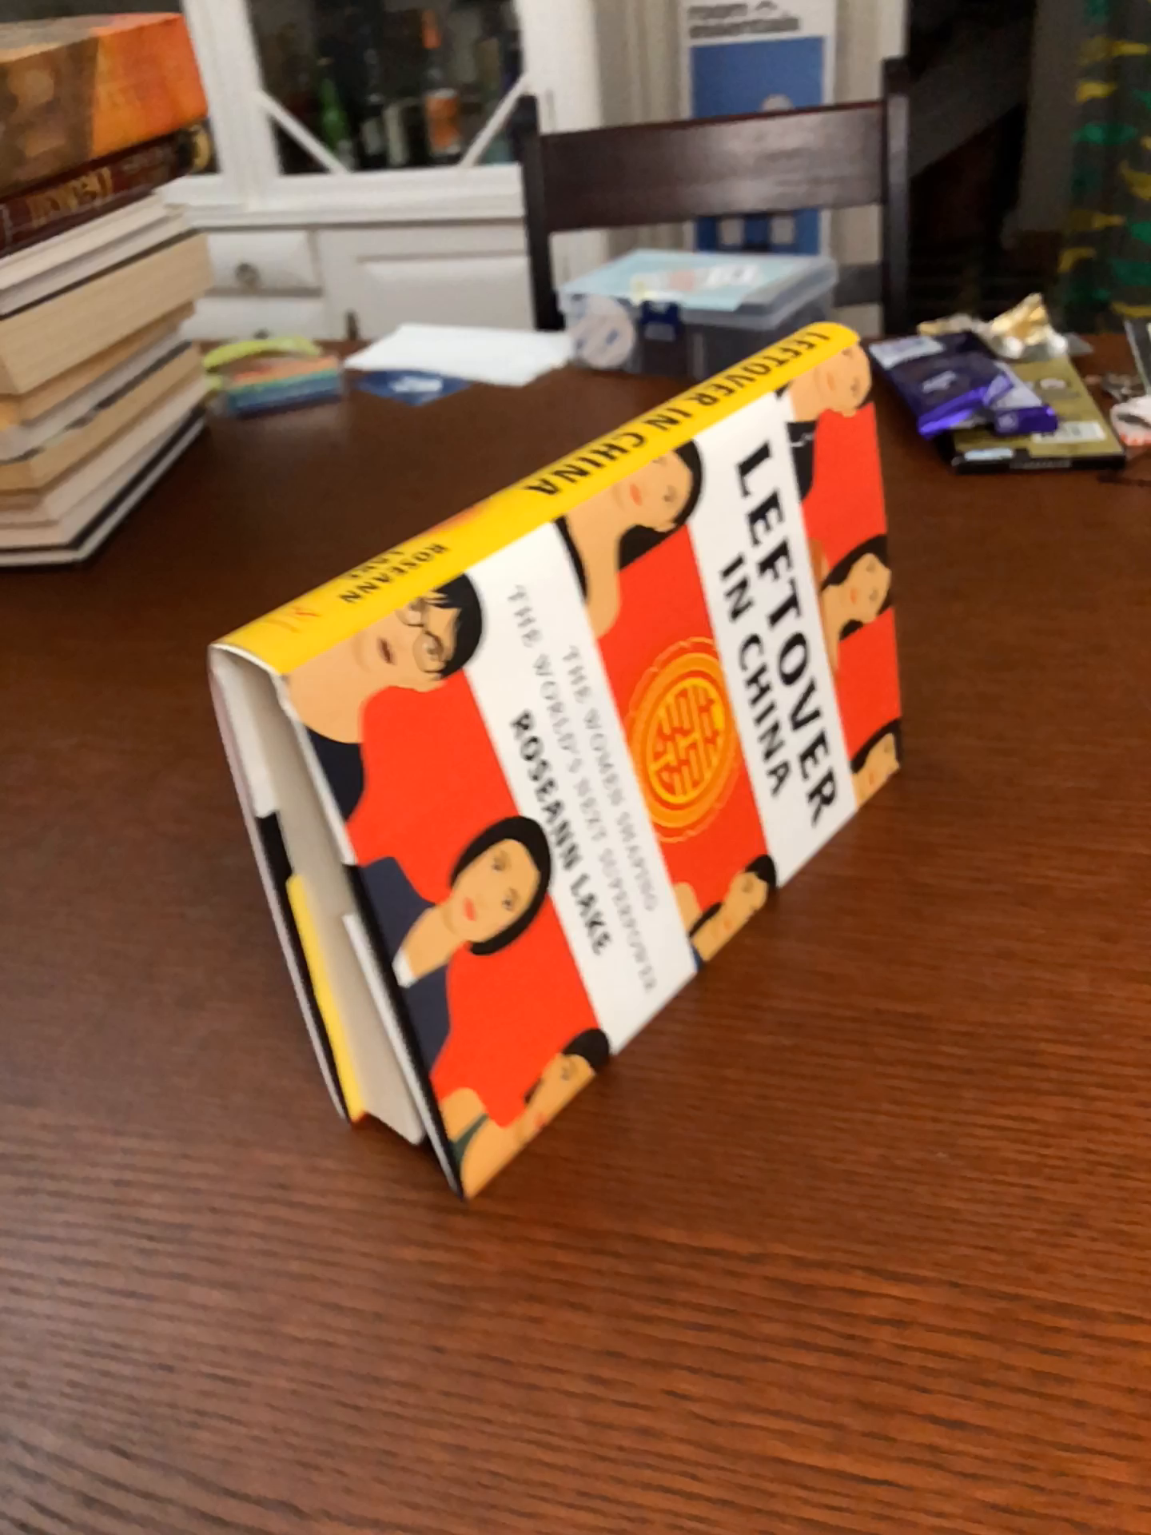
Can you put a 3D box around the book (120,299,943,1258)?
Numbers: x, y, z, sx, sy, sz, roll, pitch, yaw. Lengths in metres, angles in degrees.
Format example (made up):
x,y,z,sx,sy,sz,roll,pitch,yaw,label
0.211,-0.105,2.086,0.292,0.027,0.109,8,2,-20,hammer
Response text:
x,y,z,sx,sy,sz,roll,pitch,yaw,label
0.016,-0.013,0.391,0.060,0.179,0.261,22,44,35,book
